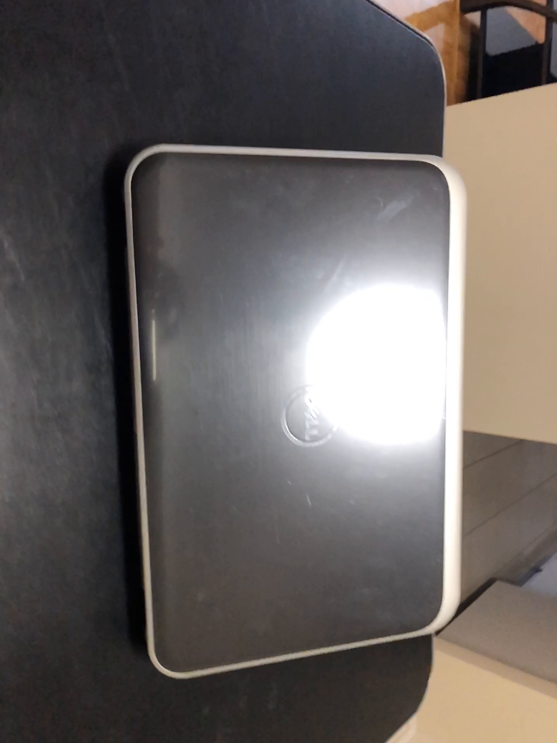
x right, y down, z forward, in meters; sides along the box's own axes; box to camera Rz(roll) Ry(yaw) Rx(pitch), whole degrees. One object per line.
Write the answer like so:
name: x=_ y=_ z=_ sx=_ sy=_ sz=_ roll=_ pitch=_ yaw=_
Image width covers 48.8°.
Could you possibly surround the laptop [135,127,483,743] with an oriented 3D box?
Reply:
laptop: x=0.040 y=0.027 z=0.478 sx=0.241 sy=0.137 sz=0.356 roll=-10 pitch=101 yaw=-48
